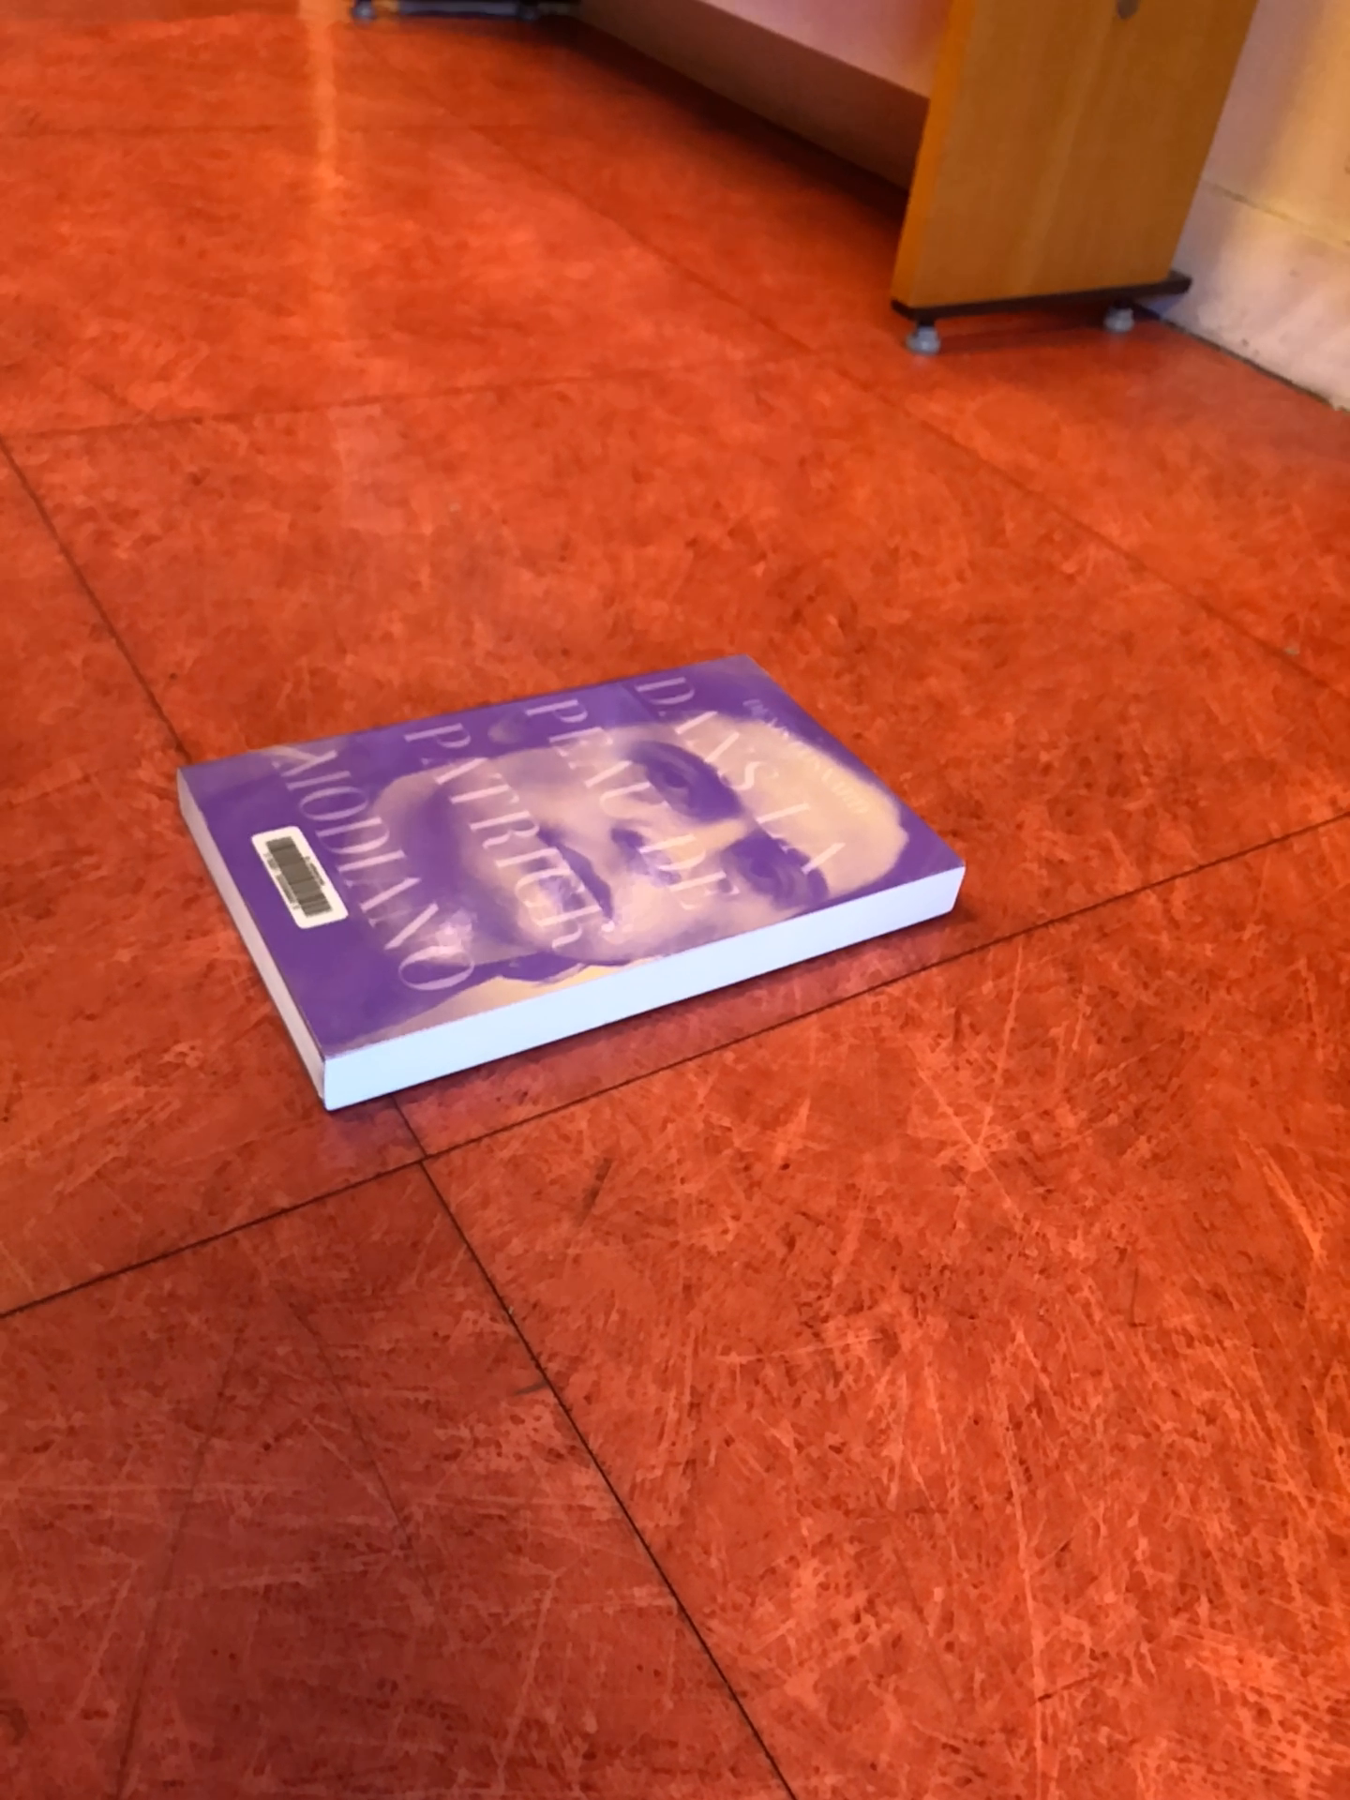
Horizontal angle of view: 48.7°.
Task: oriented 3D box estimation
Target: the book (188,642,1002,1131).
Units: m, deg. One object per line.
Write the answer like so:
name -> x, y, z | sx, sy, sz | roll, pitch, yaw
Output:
book -> -0.027, -0.019, 0.512 | 0.233, 0.030, 0.150 | -15, 46, -26
